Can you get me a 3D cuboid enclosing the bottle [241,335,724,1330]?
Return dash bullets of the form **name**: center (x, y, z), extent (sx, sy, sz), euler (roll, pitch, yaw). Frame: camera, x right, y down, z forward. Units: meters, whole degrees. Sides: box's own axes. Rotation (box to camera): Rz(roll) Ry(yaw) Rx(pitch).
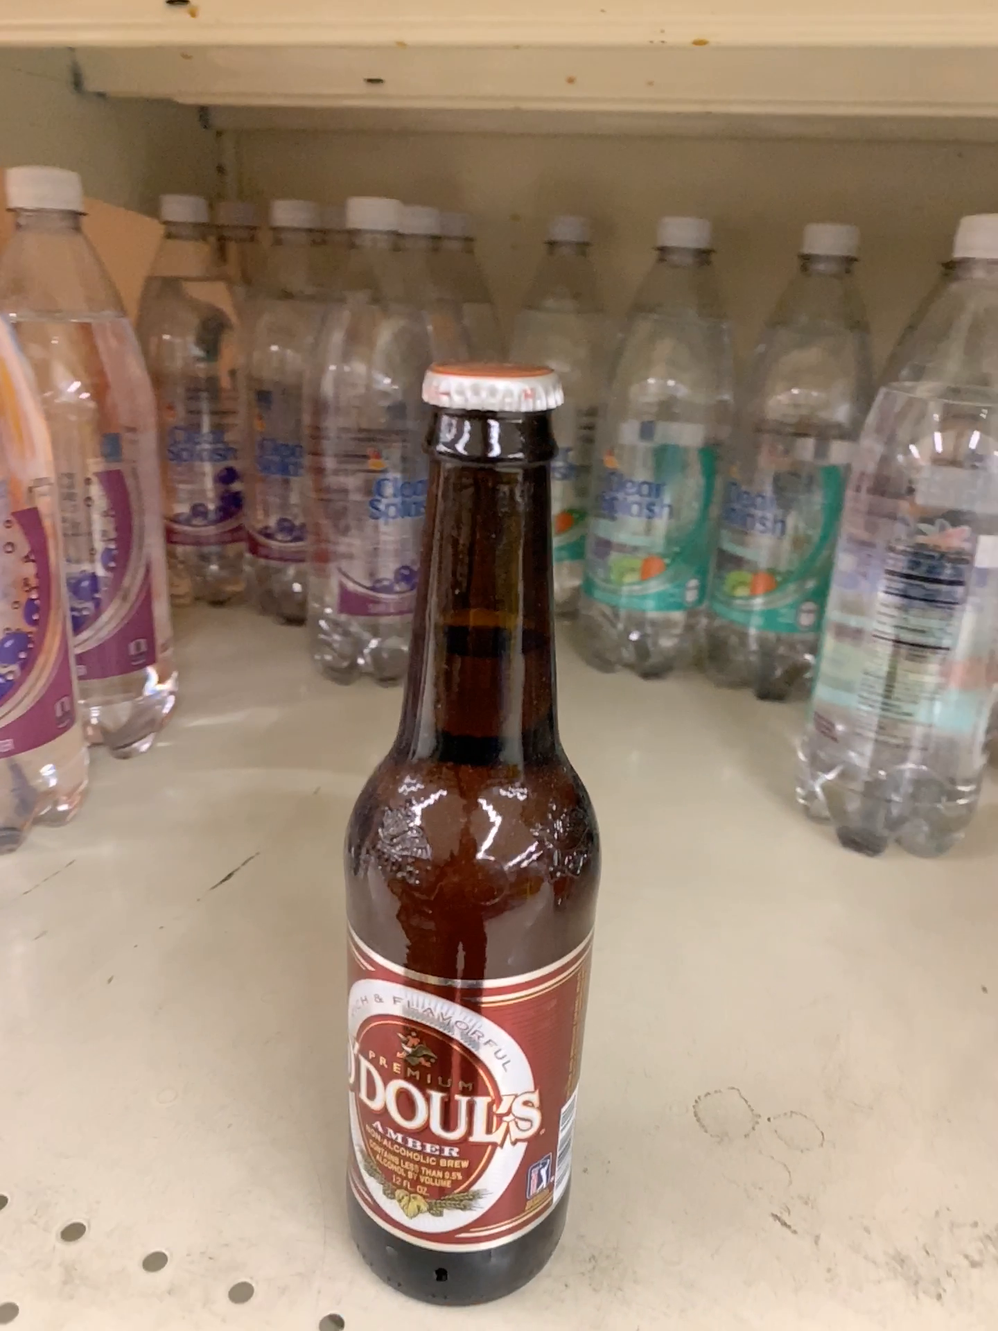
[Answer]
- **bottle**: center (-0.004, 0.042, 0.242), extent (0.070, 0.219, 0.070), euler (2, 22, -1)
